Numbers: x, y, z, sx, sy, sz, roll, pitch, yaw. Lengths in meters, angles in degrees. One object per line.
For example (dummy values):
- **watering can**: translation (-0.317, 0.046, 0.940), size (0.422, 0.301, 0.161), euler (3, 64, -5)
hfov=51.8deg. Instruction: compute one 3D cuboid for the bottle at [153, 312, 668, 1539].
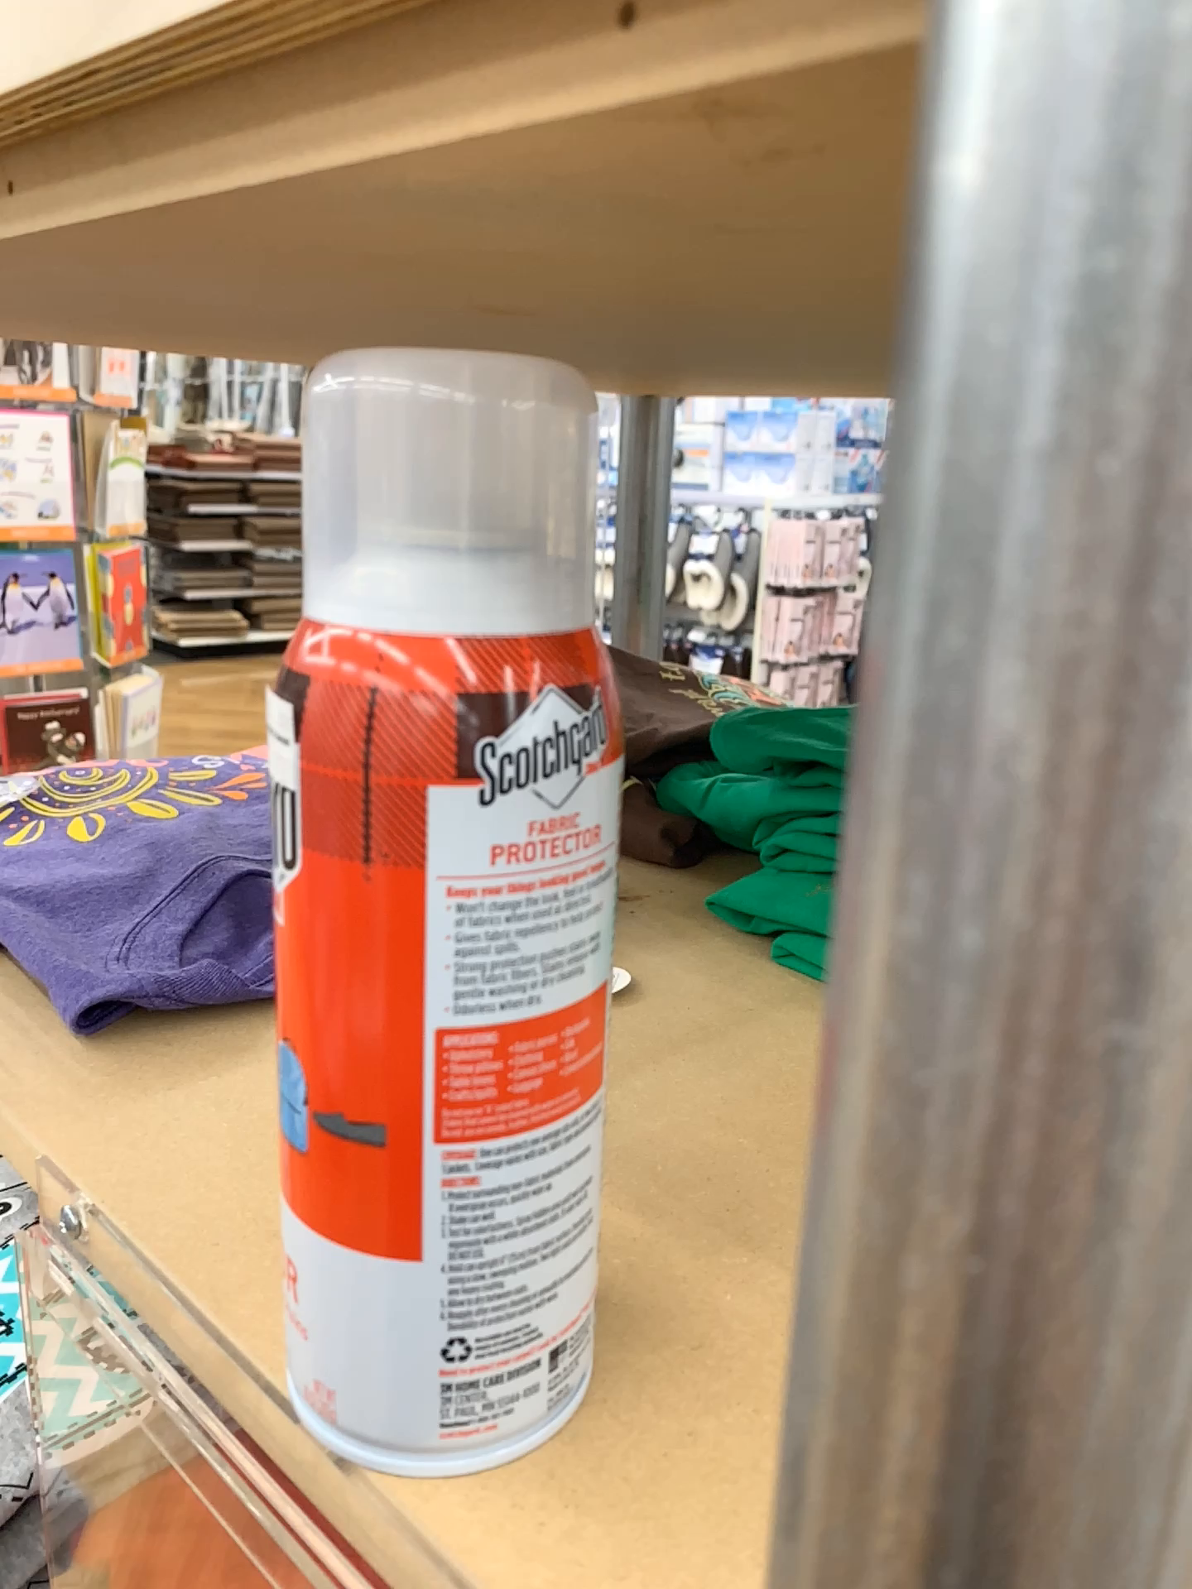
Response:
- **bottle**: translation (-0.030, 0.023, 0.233), size (0.067, 0.206, 0.069), euler (2, 15, -1)
